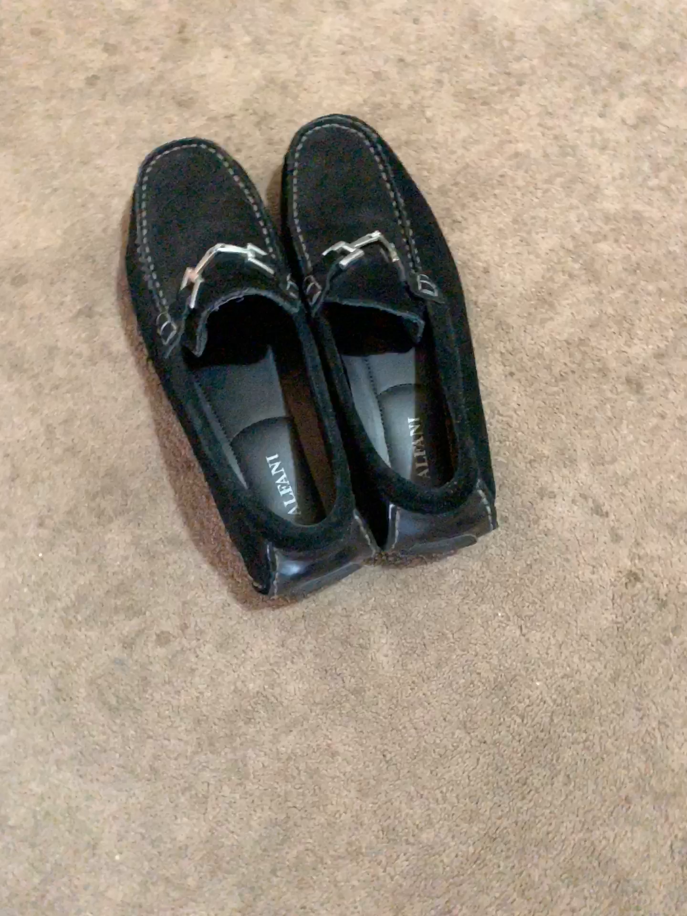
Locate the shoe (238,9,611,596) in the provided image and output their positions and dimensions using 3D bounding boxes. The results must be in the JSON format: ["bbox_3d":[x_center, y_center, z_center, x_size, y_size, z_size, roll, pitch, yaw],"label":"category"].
[{"bbox_3d":[0.028,-0.091,0.407,0.100,0.100,0.311,-14,74,-9],"label":"shoe"}]

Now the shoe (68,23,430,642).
[{"bbox_3d":[-0.058,-0.070,0.386,0.100,0.100,0.311,-14,74,-9],"label":"shoe"}]
